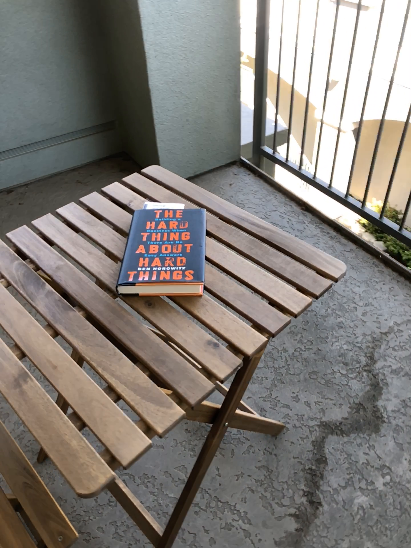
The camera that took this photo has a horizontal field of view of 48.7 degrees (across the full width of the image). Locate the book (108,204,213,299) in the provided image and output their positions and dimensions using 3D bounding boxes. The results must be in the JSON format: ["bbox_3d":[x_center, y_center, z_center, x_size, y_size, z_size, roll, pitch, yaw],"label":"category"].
[{"bbox_3d":[-0.079,-0.052,0.899,0.180,0.040,0.241,-1,43,3],"label":"book"}]
